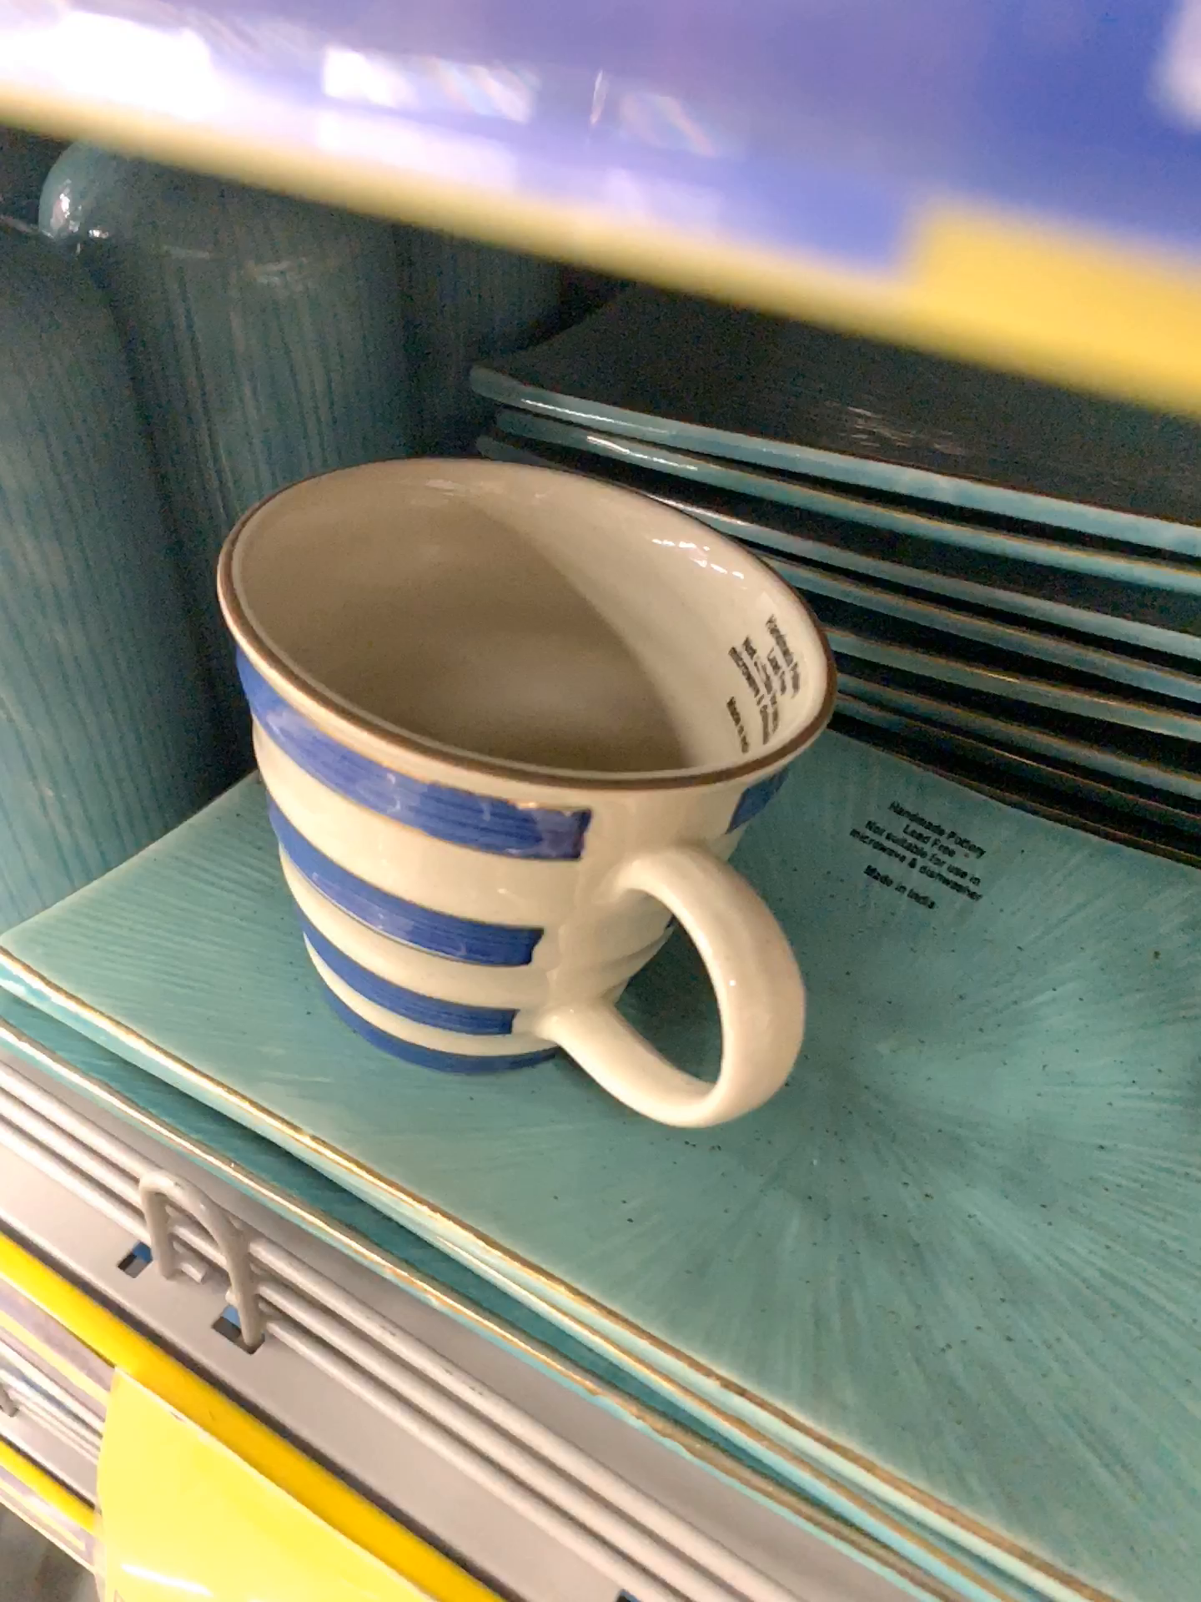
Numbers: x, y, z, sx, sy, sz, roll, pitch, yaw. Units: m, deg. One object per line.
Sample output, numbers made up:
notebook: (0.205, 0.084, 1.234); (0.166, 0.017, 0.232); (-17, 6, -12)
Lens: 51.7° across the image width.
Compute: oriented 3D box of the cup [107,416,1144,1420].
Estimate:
cup: (-0.005, 0.005, 0.223); (0.100, 0.080, 0.140); (-25, 53, -38)
